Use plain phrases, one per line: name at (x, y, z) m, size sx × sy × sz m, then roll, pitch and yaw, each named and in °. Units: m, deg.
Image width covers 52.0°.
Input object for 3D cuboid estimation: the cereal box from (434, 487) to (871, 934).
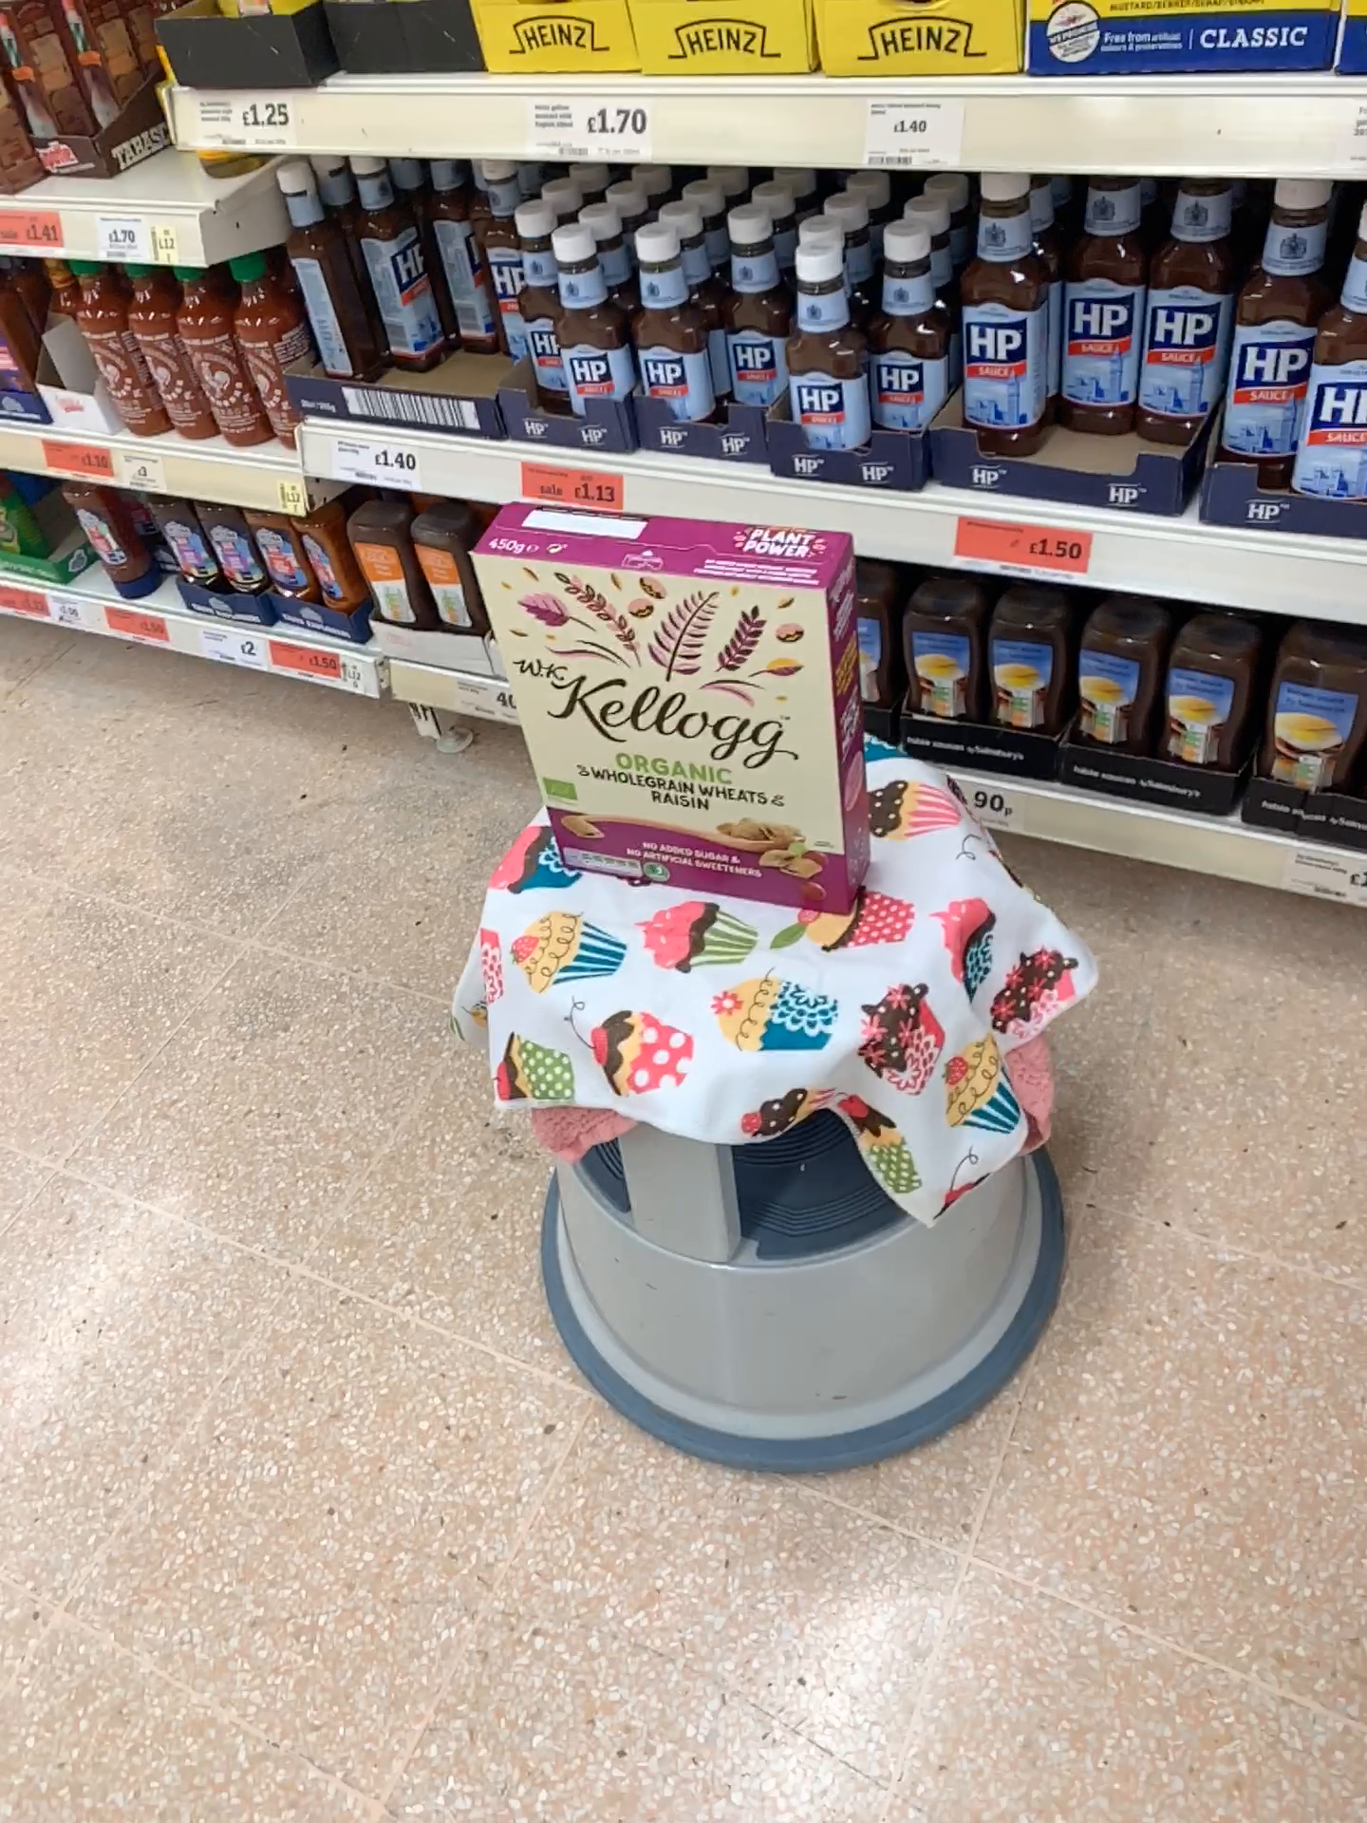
cereal box at (-0.007, -0.106, 0.779) m, size 0.200 × 0.248 × 0.050 m, roll 11°, pitch 51°, yaw 21°
